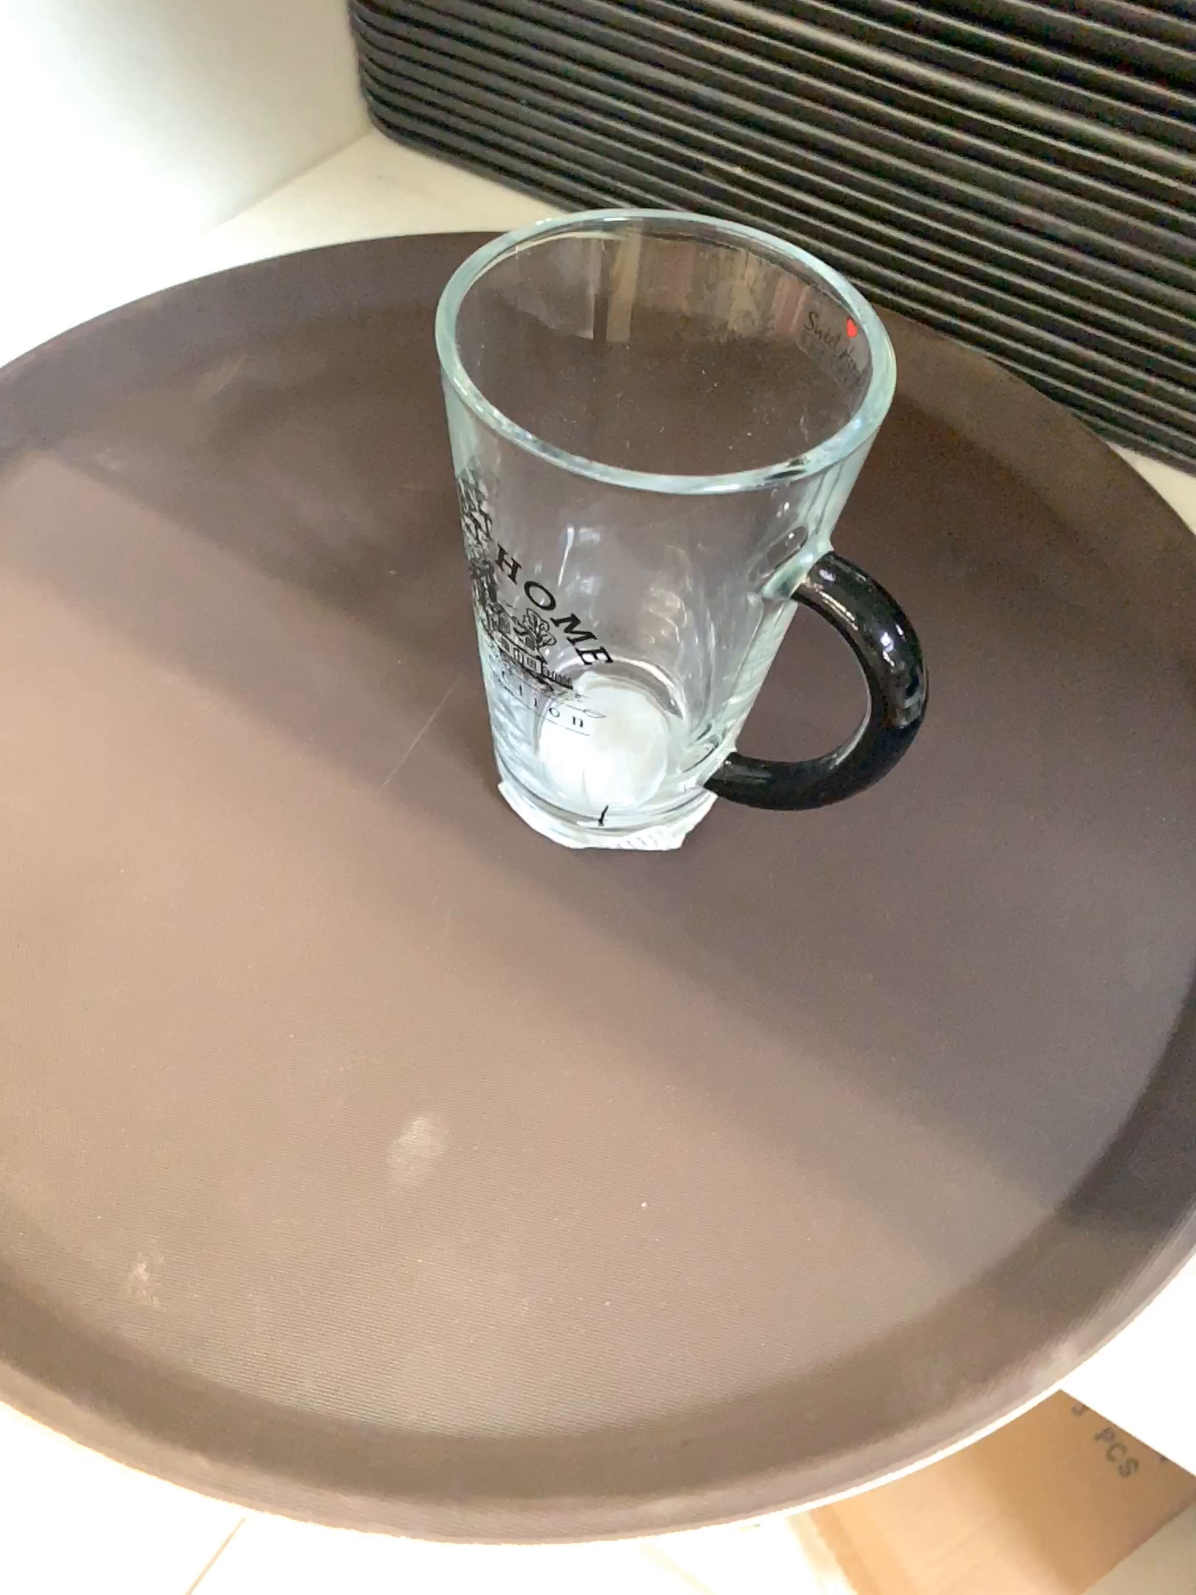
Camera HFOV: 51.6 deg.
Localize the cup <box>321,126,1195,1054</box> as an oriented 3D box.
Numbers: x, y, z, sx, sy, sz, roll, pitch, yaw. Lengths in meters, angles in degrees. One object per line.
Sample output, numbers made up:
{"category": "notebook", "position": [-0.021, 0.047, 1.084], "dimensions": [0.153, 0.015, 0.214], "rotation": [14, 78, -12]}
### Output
{"category": "cup", "position": [0.024, -0.041, 0.256], "dimensions": [0.120, 0.120, 0.090], "rotation": [38, 60, 22]}
